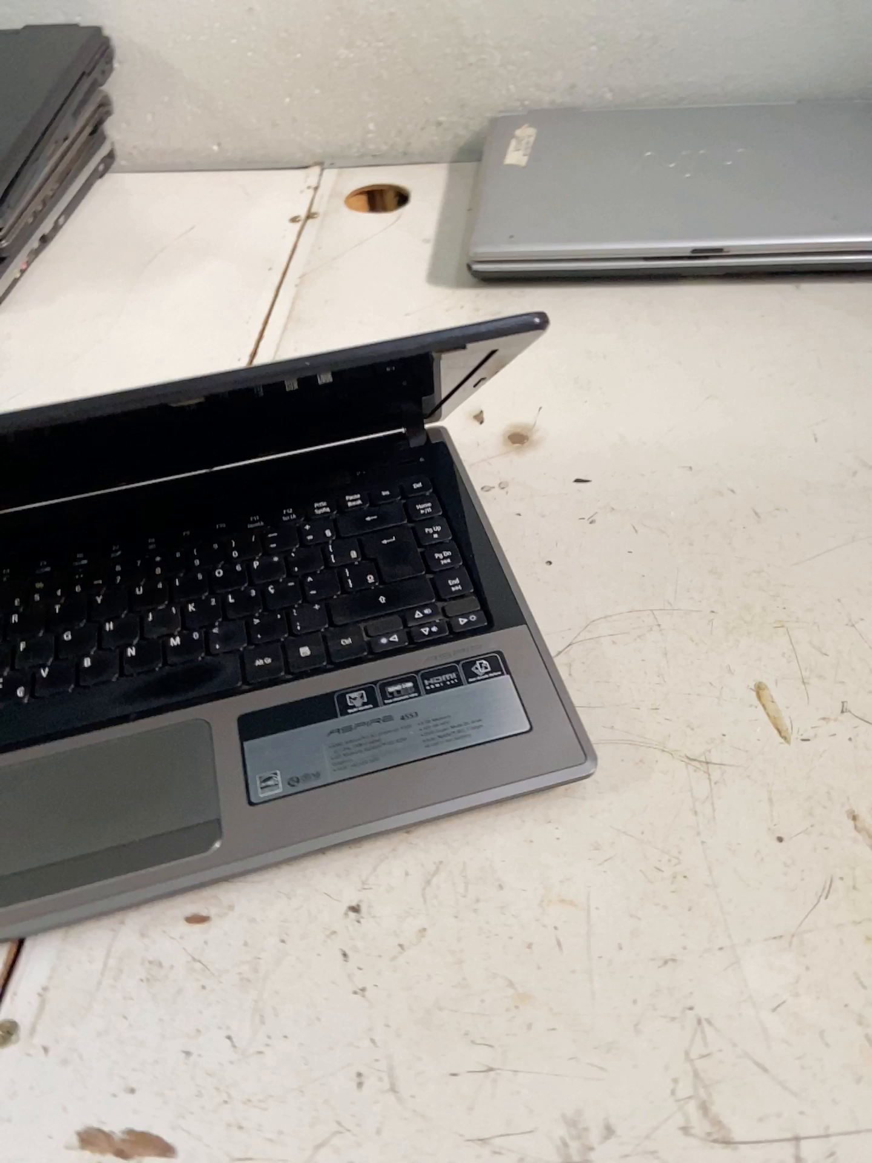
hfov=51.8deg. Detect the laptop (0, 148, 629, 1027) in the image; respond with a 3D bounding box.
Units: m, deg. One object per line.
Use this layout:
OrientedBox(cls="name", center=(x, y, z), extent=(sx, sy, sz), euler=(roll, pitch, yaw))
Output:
OrientedBox(cls="laptop", center=(-0.132, -0.020, 0.355), extent=(0.334, 0.157, 0.227), euler=(-14, 47, -9))
